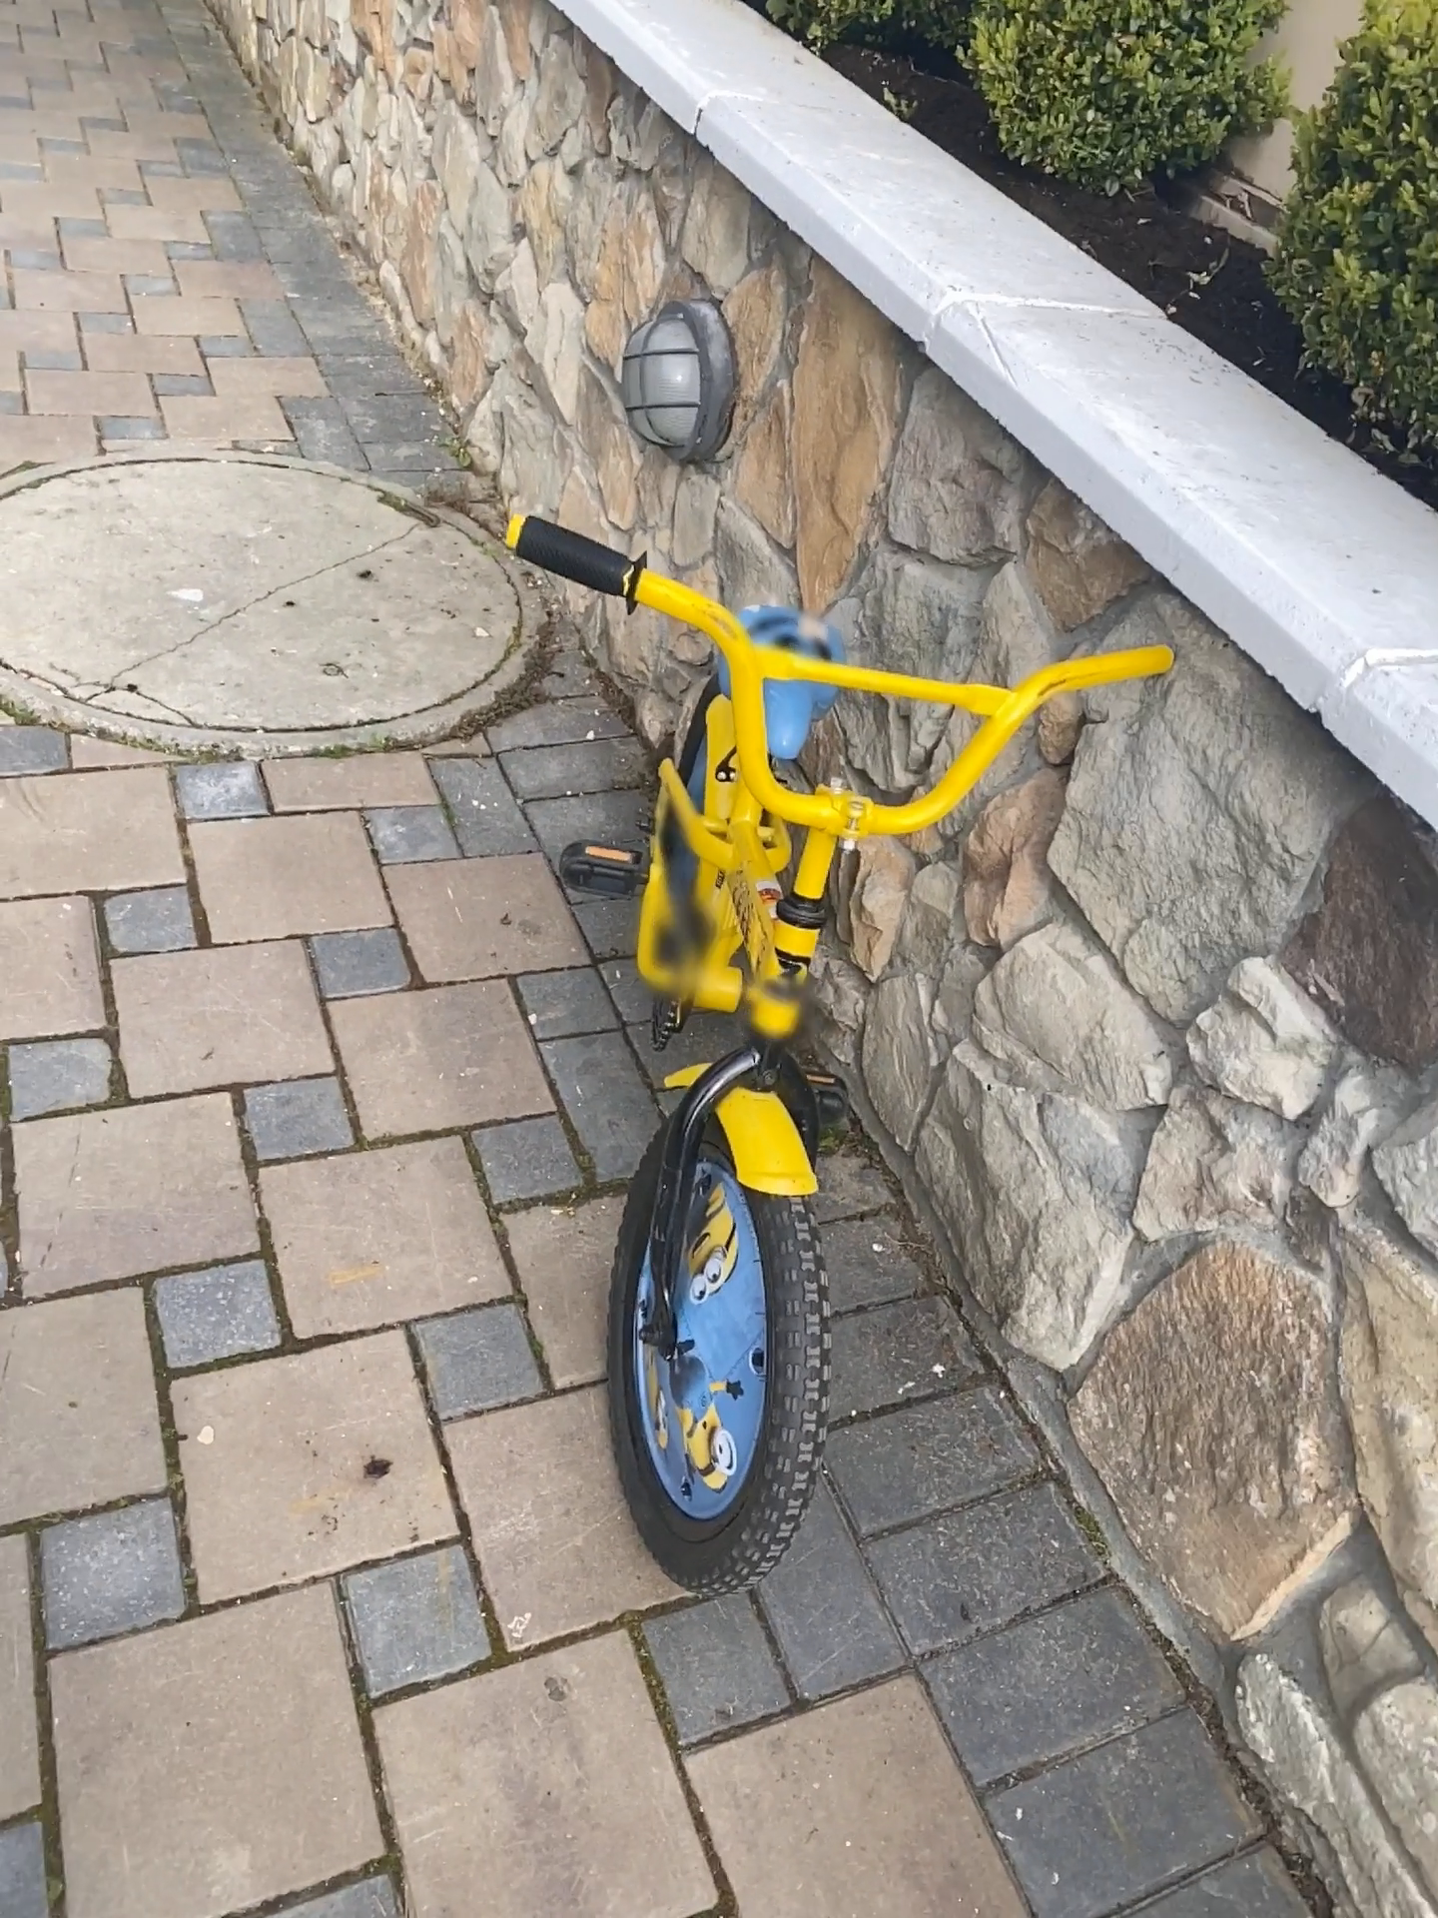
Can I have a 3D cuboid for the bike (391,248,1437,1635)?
[{"bbox_3d":[0.073,-0.081,1.375,0.619,0.735,1.090,6,39,-11],"label":"bike"}]
